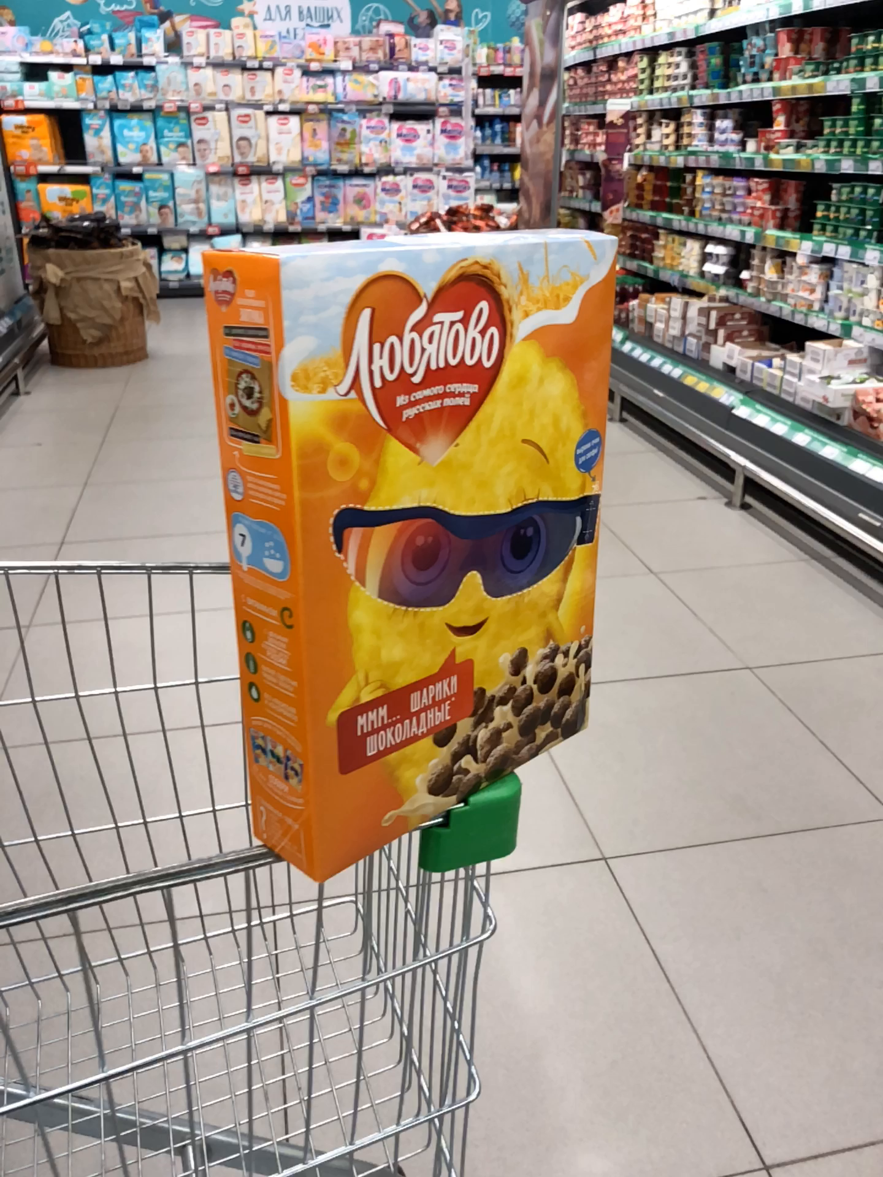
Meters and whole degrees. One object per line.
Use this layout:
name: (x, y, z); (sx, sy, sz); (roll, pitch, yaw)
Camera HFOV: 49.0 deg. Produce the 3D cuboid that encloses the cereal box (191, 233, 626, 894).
cereal box: (-0.003, -0.025, 0.446); (0.050, 0.259, 0.201); (19, 28, 41)
